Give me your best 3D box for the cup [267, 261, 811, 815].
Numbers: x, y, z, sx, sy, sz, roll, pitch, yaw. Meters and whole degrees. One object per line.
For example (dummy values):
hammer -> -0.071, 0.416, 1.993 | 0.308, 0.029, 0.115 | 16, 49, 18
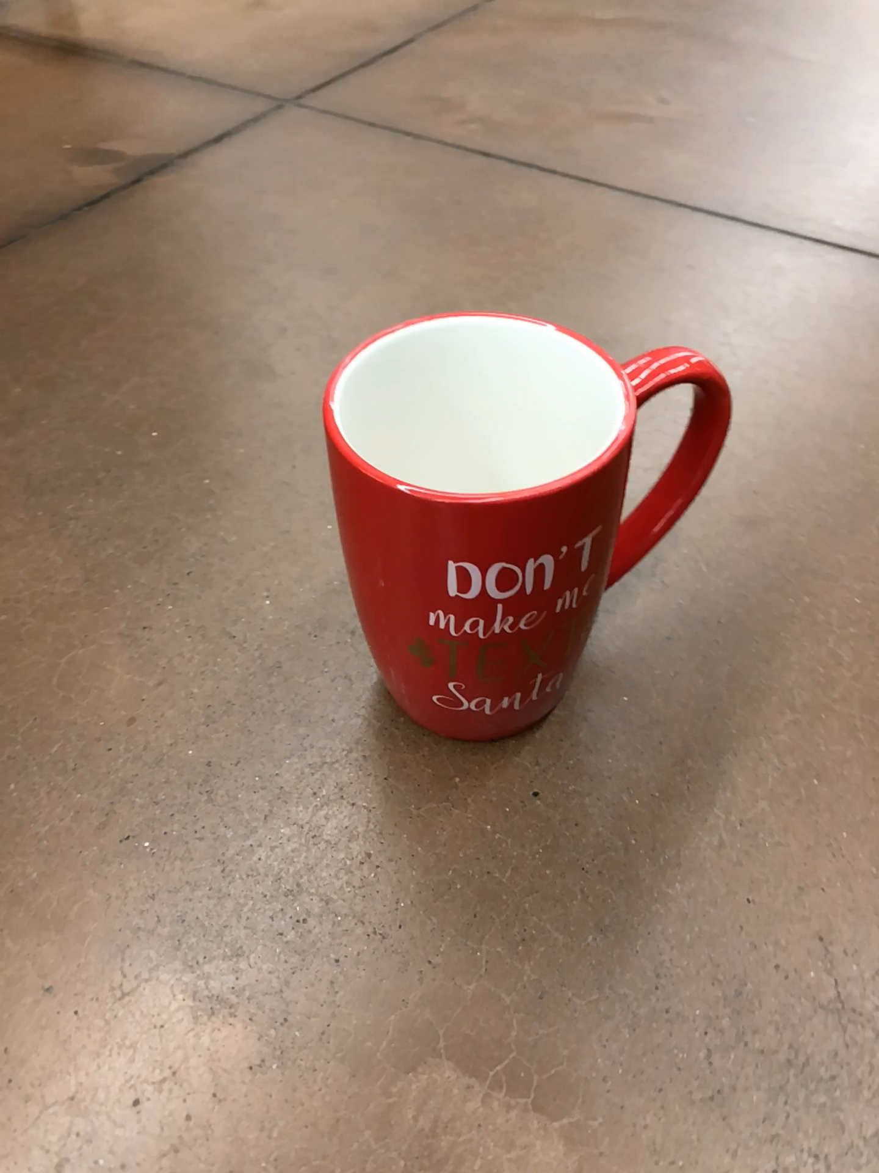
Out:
cup -> 0.026, -0.016, 0.329 | 0.130, 0.130, 0.090 | -16, 48, -14
